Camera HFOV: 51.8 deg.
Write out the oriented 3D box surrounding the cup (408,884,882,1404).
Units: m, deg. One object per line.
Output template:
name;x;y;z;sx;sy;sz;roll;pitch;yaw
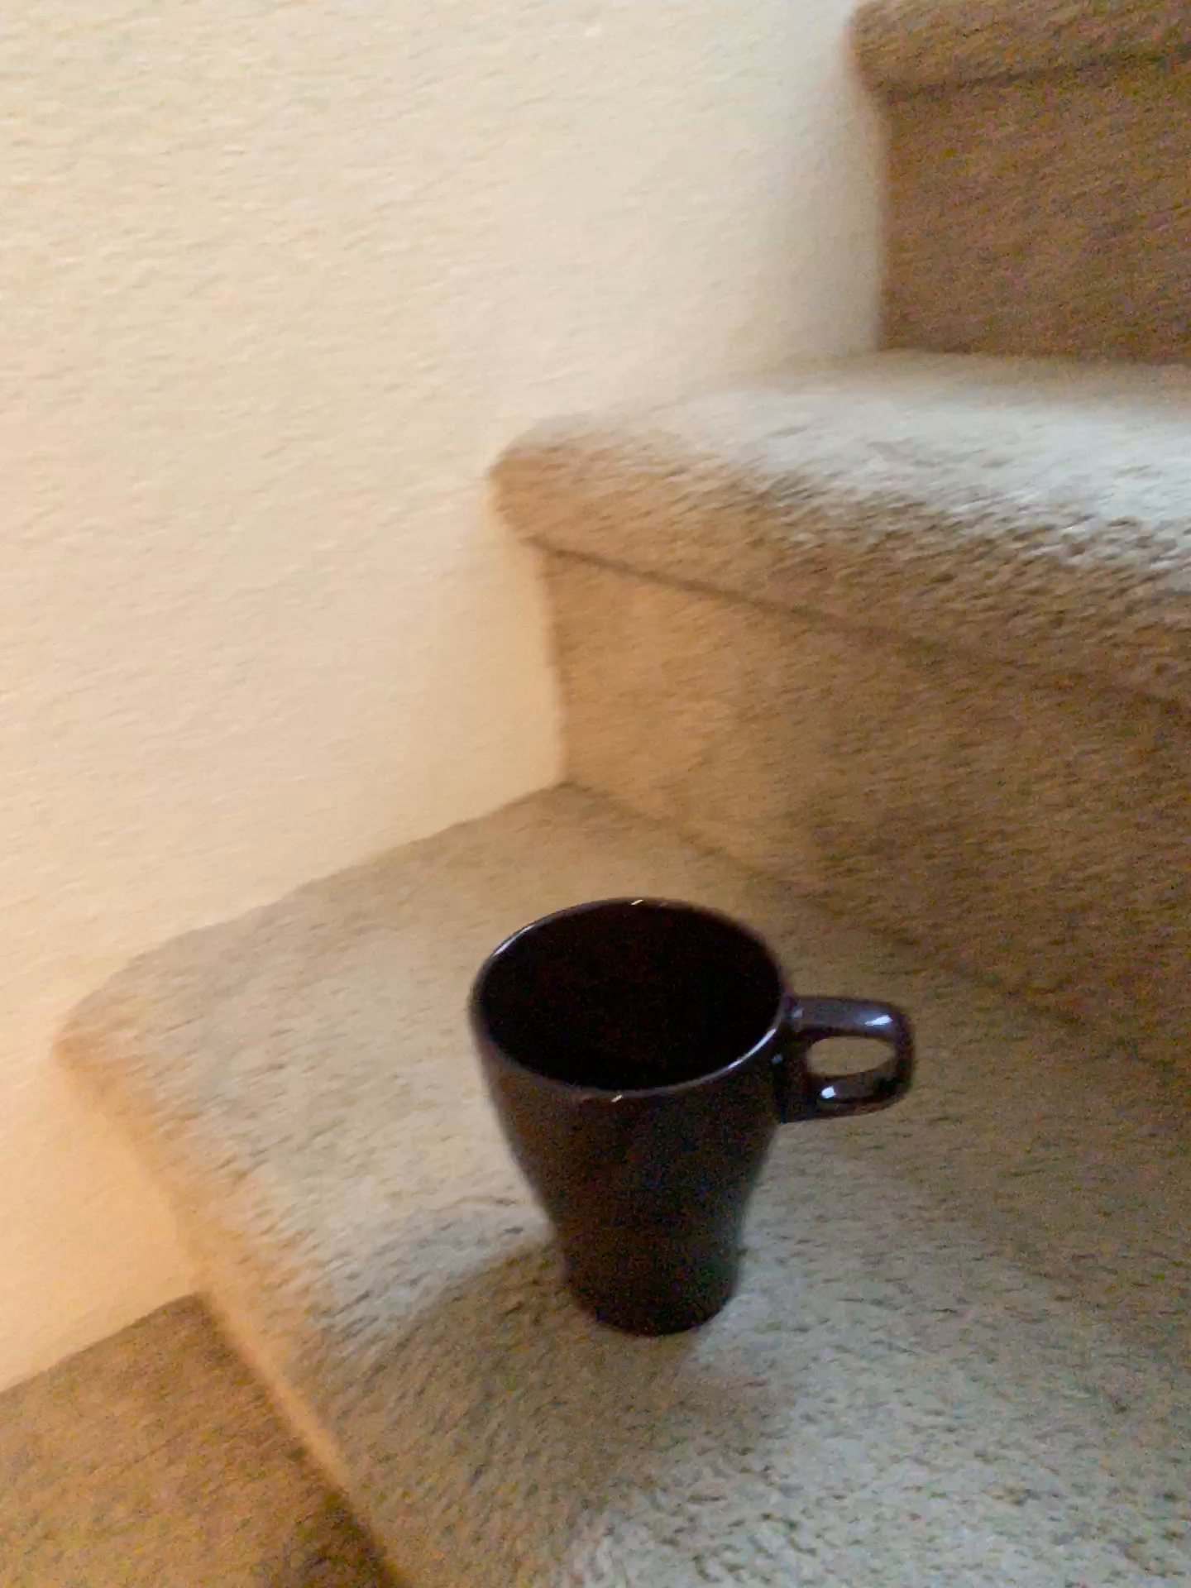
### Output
cup;0.021;0.090;0.336;0.110;0.099;0.081;1;25;13
